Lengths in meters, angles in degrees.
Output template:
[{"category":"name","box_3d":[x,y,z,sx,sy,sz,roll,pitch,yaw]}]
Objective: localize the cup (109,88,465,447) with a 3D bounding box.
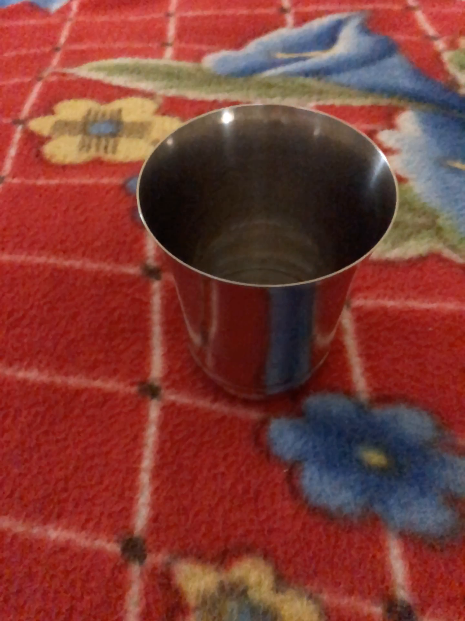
[{"category":"cup","box_3d":[0.016,-0.012,0.190,0.089,0.090,0.087,1,53,-1]}]
